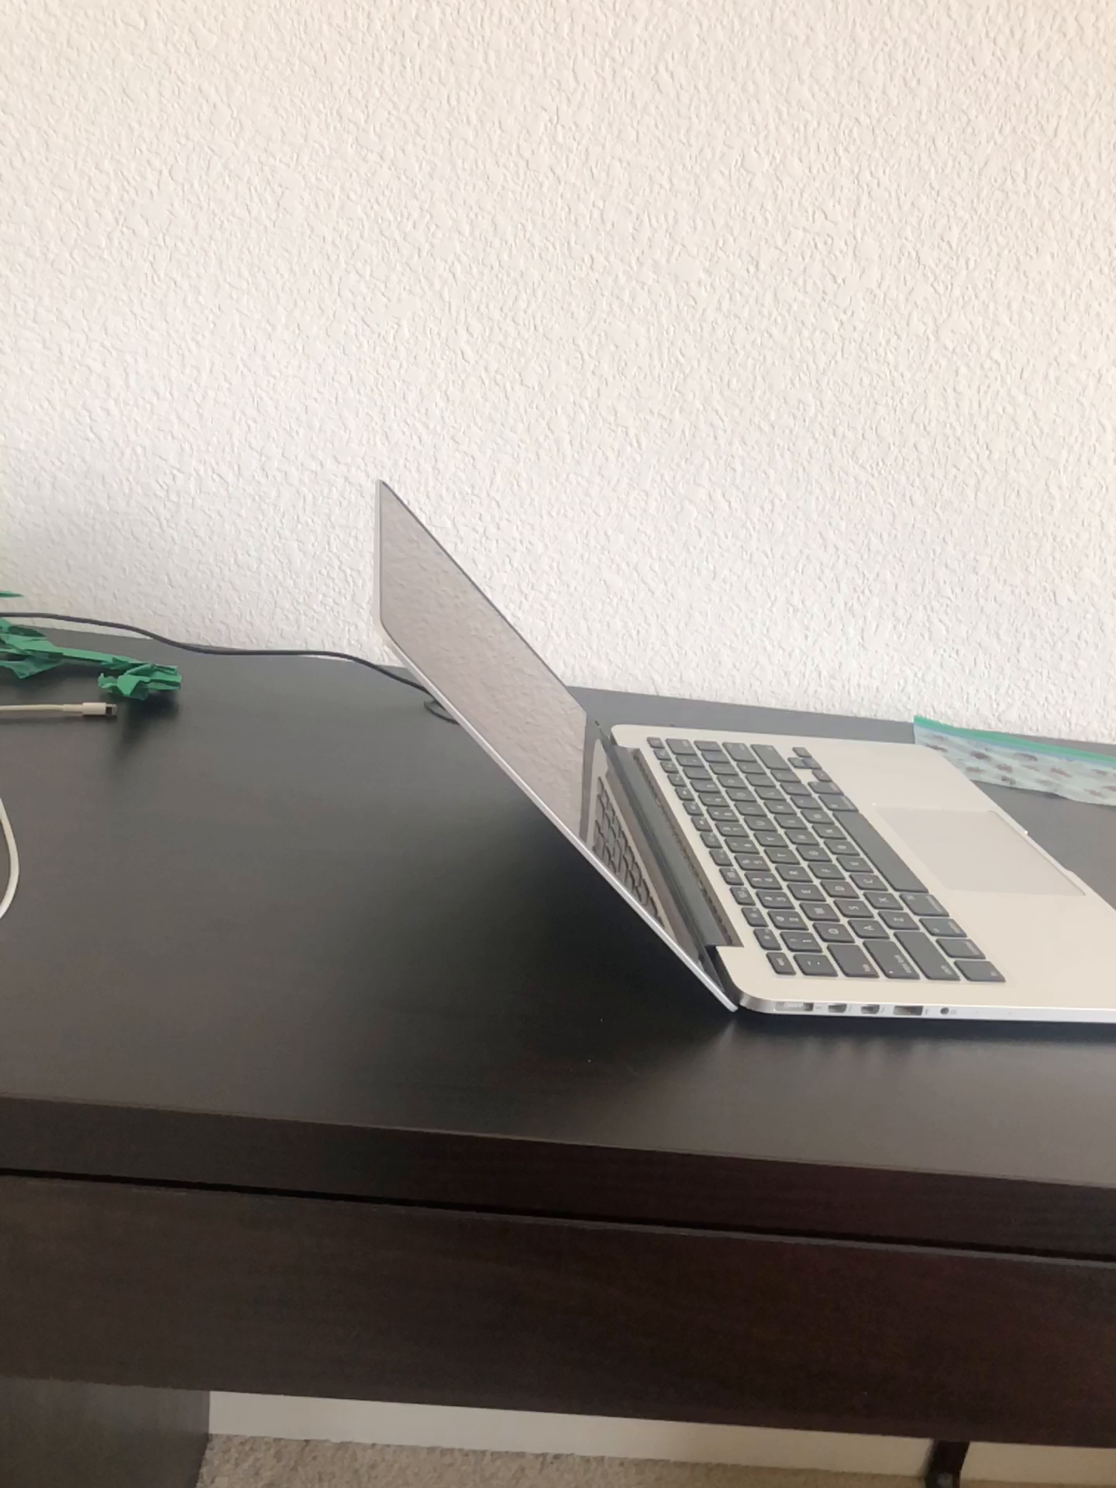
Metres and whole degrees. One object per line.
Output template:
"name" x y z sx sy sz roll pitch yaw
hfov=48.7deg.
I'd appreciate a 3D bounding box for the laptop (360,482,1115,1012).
"laptop" 0.091 -0.018 0.614 0.362 0.133 0.310 4 21 -9
